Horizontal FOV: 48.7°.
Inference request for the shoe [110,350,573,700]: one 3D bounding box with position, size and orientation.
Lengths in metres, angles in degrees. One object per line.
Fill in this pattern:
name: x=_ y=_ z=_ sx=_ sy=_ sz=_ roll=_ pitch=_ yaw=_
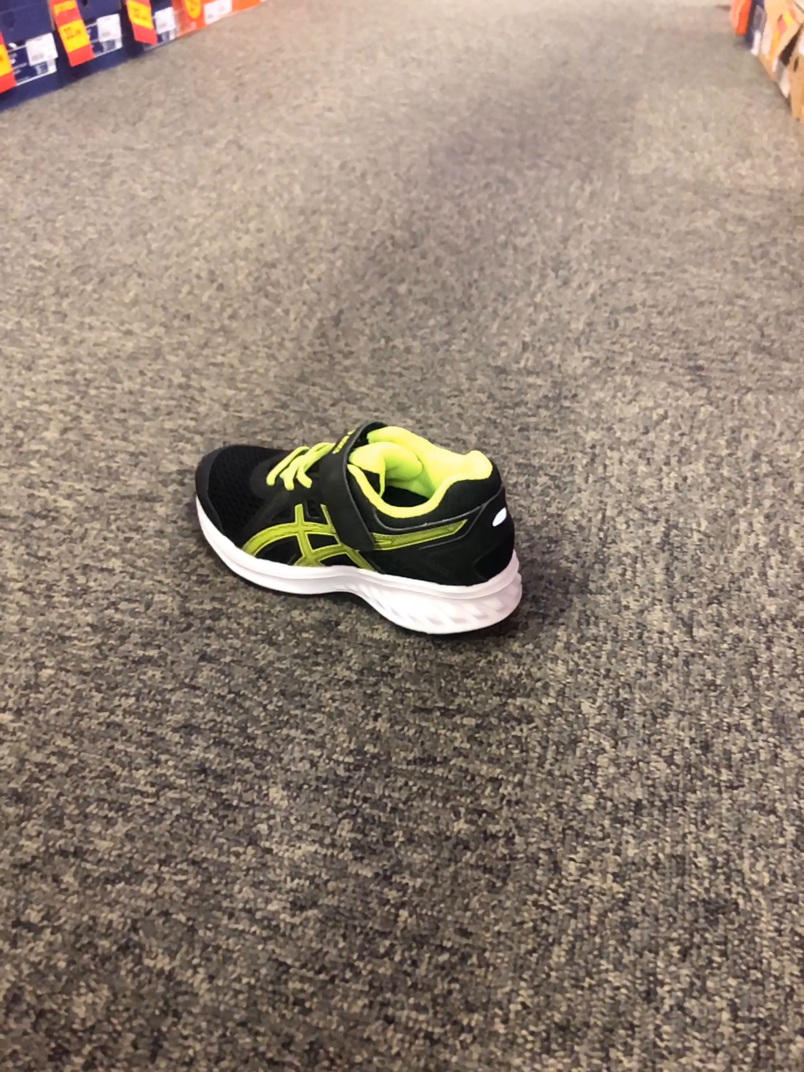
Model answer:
shoe: x=-0.031 y=-0.014 z=0.443 sx=0.200 sy=0.080 sz=0.091 roll=20 pitch=43 yaw=21
